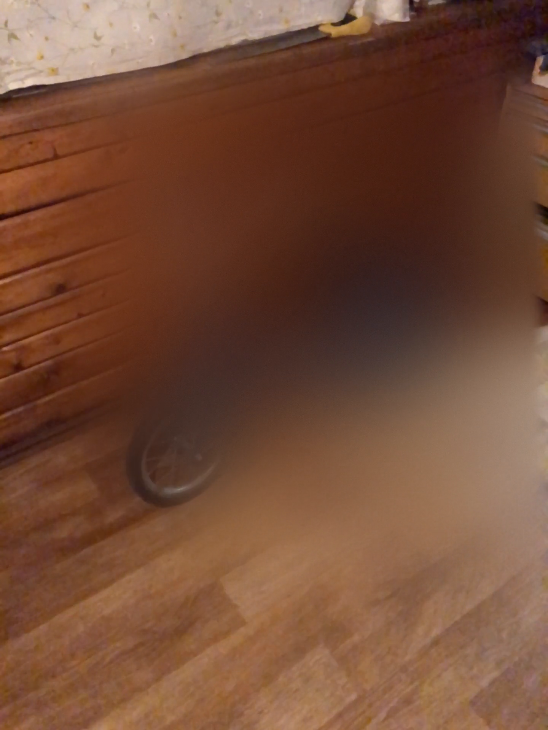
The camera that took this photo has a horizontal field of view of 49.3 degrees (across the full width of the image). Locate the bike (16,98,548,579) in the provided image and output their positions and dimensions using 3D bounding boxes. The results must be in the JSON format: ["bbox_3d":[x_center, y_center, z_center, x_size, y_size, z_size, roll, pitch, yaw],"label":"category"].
[{"bbox_3d":[0.037,-0.133,1.450,0.958,0.698,0.595,-22,45,-23],"label":"bike"}]
